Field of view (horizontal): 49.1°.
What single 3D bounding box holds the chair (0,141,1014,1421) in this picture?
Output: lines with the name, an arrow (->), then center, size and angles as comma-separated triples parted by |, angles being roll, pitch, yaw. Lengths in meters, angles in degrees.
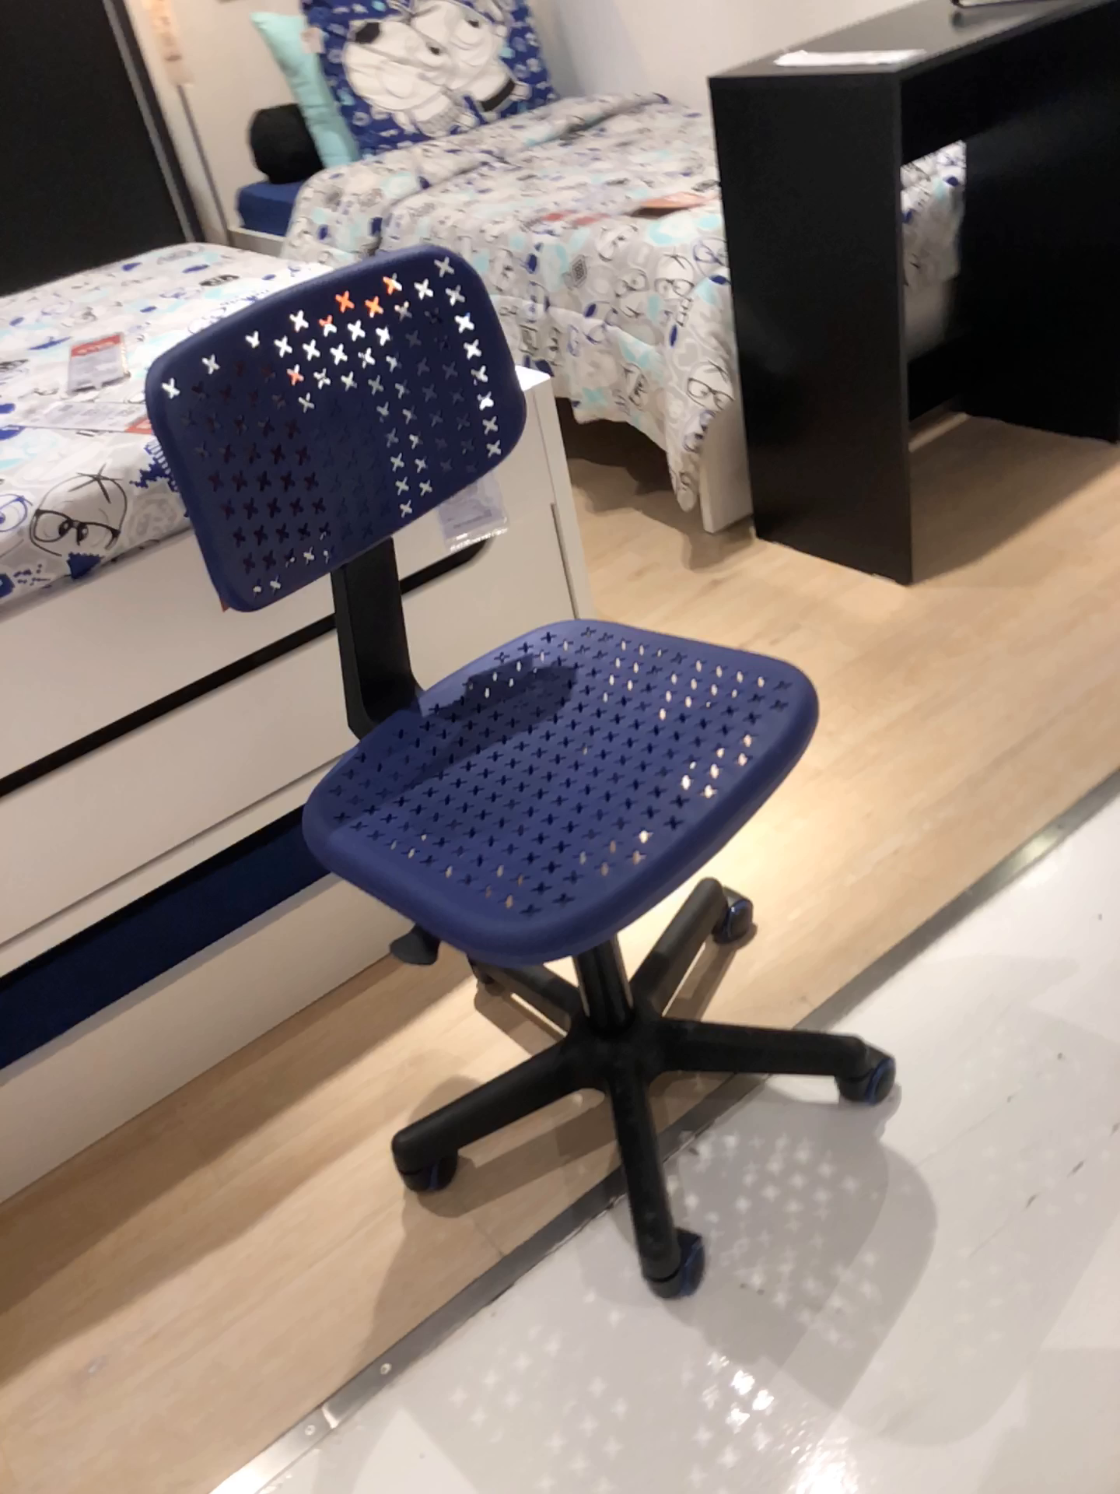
chair -> -0.007, -0.009, 1.063 | 0.552, 0.813, 0.523 | -34, 40, -27
